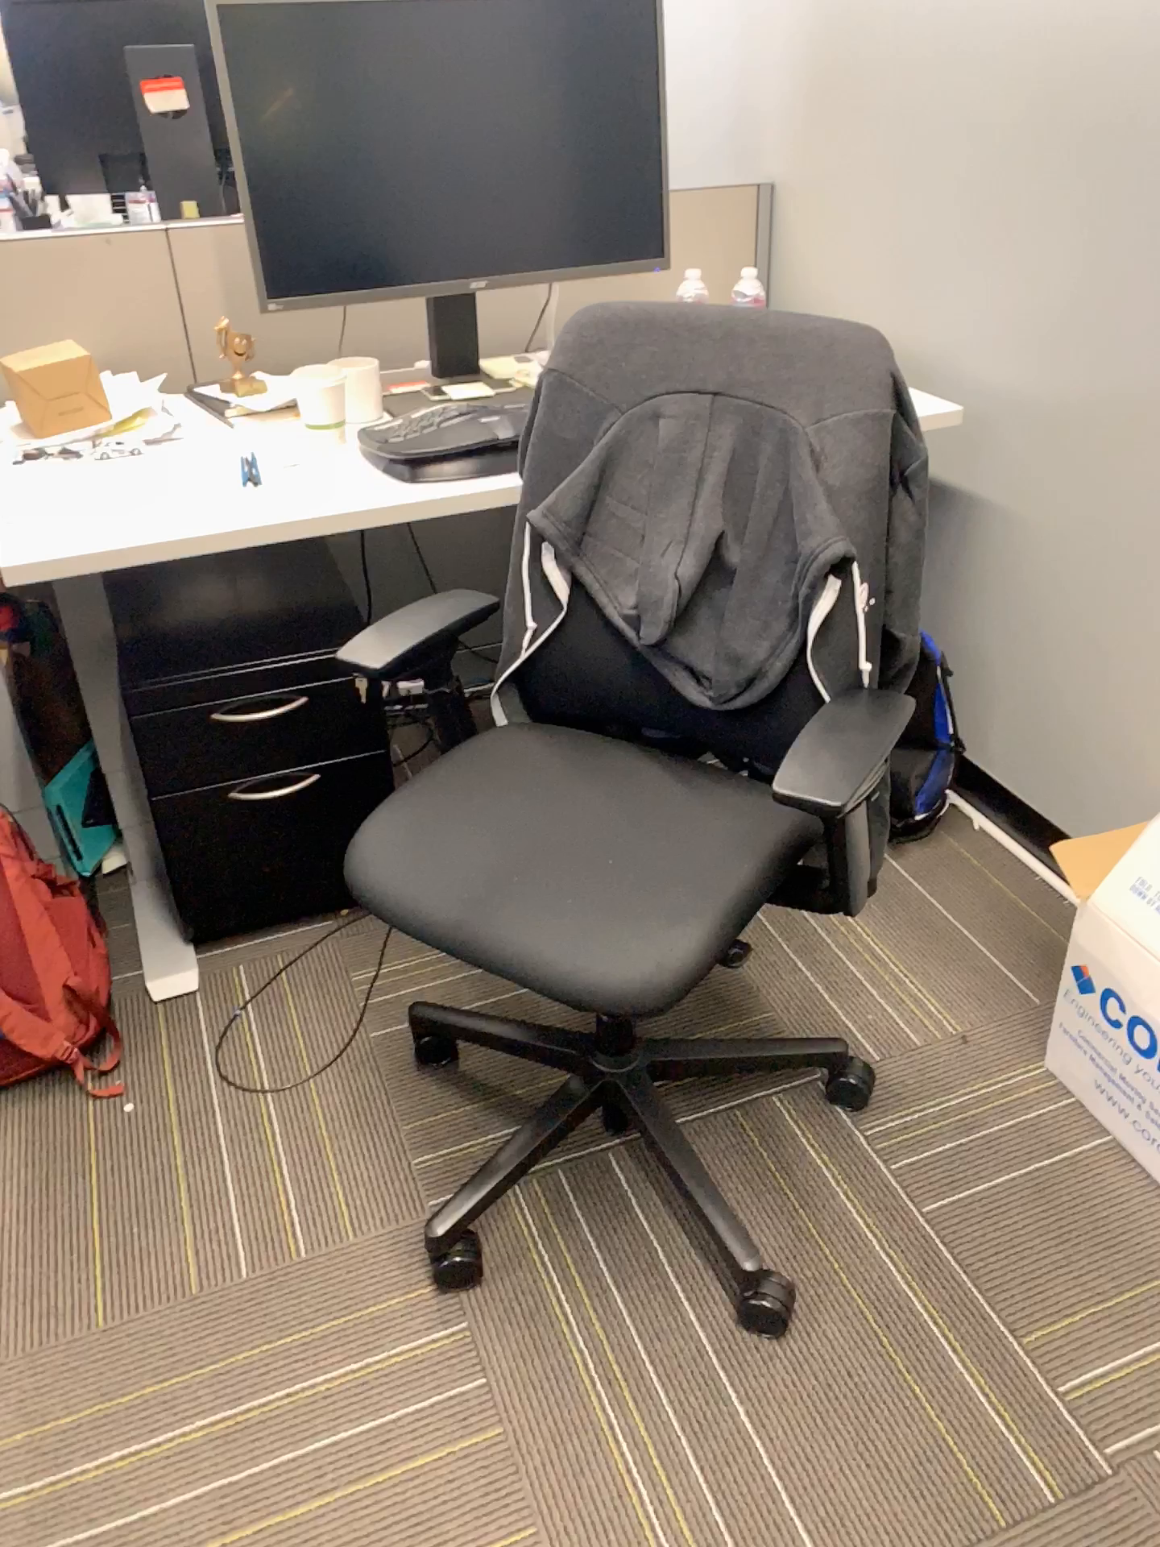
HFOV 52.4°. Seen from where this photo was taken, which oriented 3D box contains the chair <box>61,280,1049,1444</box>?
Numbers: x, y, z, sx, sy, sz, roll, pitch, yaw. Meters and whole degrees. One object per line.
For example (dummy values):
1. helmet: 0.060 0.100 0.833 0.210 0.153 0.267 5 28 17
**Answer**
1. chair: 0.054 0.022 1.434 0.682 0.994 0.803 14 36 24
